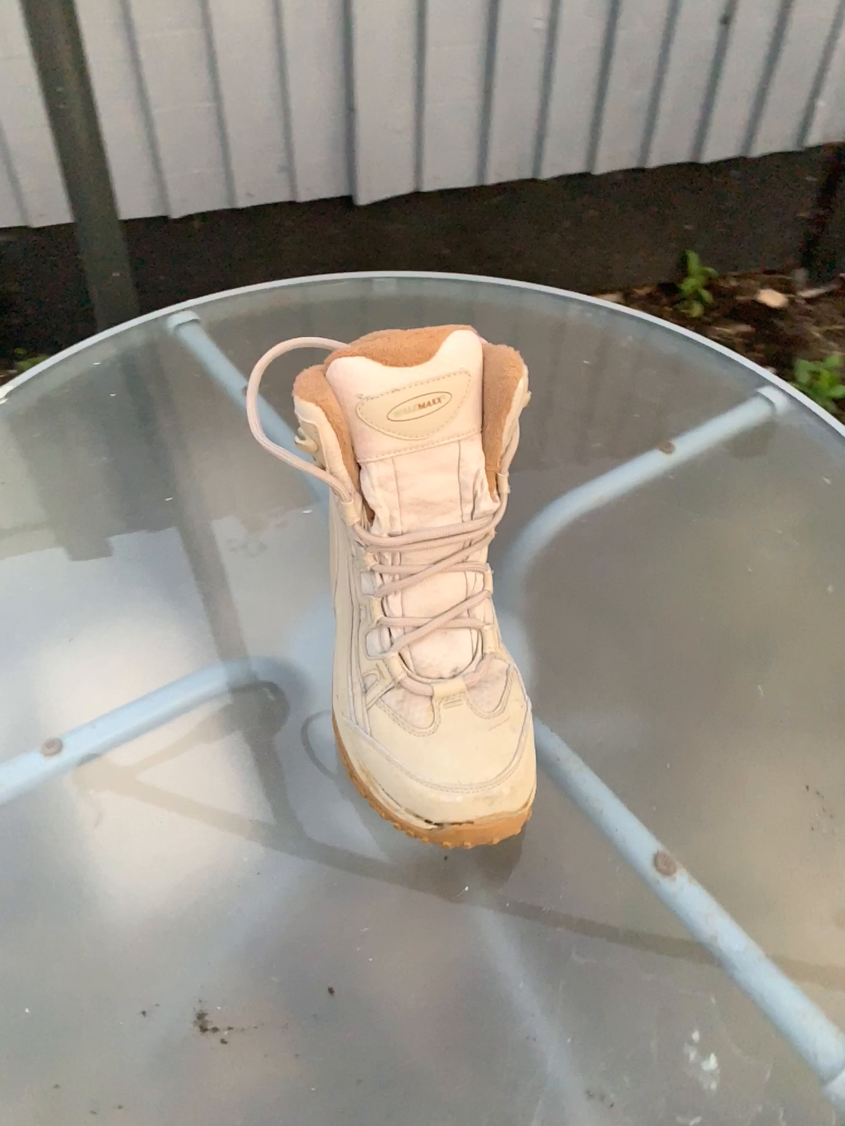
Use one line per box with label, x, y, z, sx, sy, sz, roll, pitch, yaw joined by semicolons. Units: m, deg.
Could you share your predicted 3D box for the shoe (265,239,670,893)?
shoe;-0.001;-0.009;0.469;0.120;0.198;0.282;-8;49;-9
